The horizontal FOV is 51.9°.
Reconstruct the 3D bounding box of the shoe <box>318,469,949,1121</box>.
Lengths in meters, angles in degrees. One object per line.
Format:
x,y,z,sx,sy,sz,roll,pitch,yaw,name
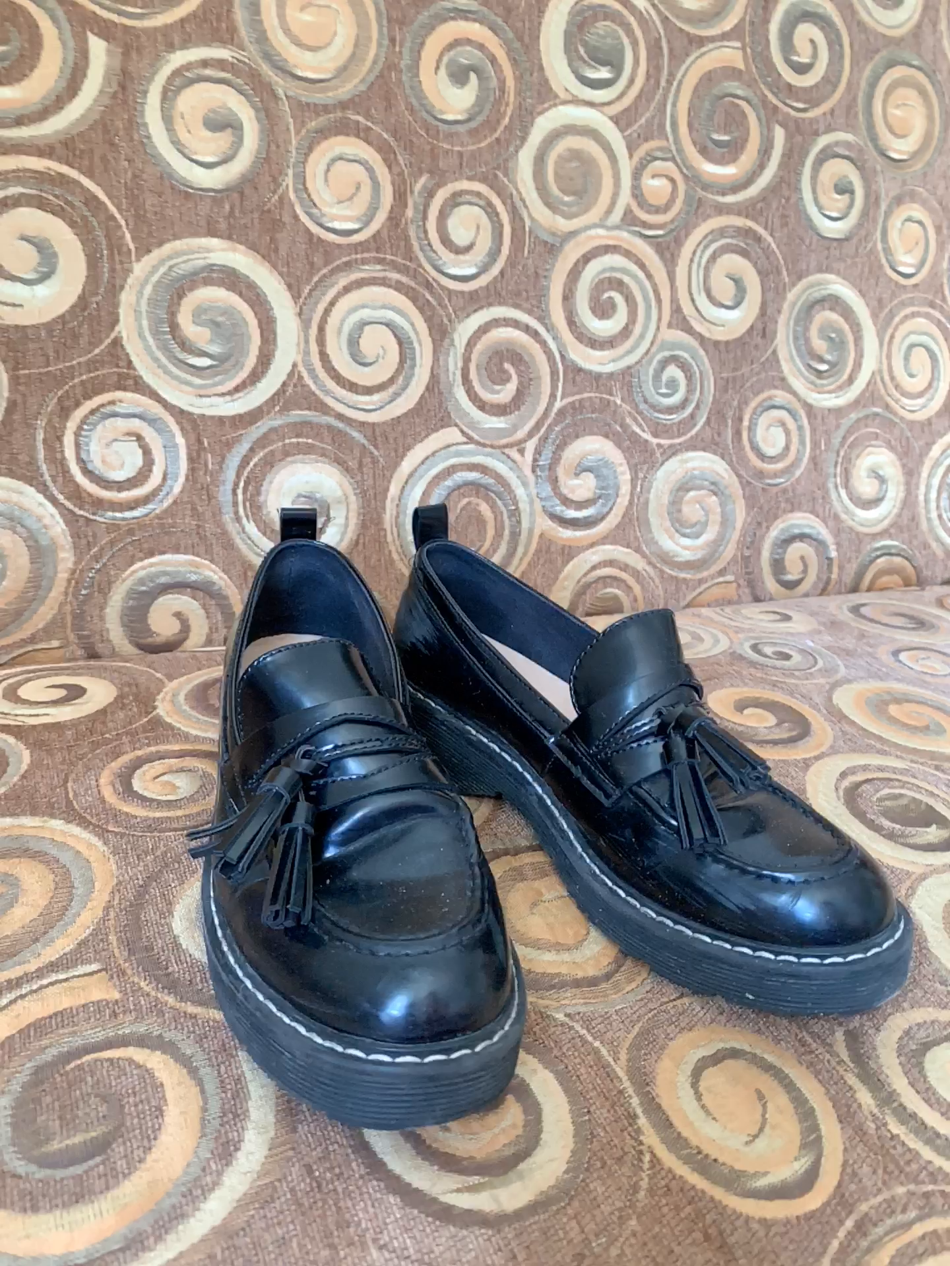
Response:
0.048,0.031,0.355,0.090,0.099,0.241,-16,35,-38,shoe

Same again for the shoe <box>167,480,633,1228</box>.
-0.050,0.039,0.324,0.090,0.099,0.241,-2,29,-19,shoe
